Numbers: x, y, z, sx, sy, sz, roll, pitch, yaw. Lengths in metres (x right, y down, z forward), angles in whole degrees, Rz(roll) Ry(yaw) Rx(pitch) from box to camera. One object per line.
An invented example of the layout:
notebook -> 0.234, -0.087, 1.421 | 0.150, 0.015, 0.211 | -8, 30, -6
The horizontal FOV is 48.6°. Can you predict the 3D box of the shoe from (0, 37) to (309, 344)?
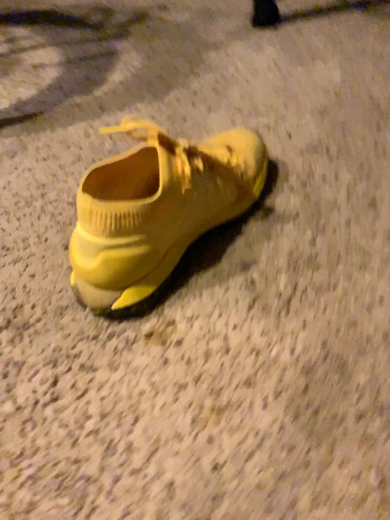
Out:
shoe -> -0.024, -0.095, 0.442 | 0.130, 0.130, 0.320 | 26, 55, 29
